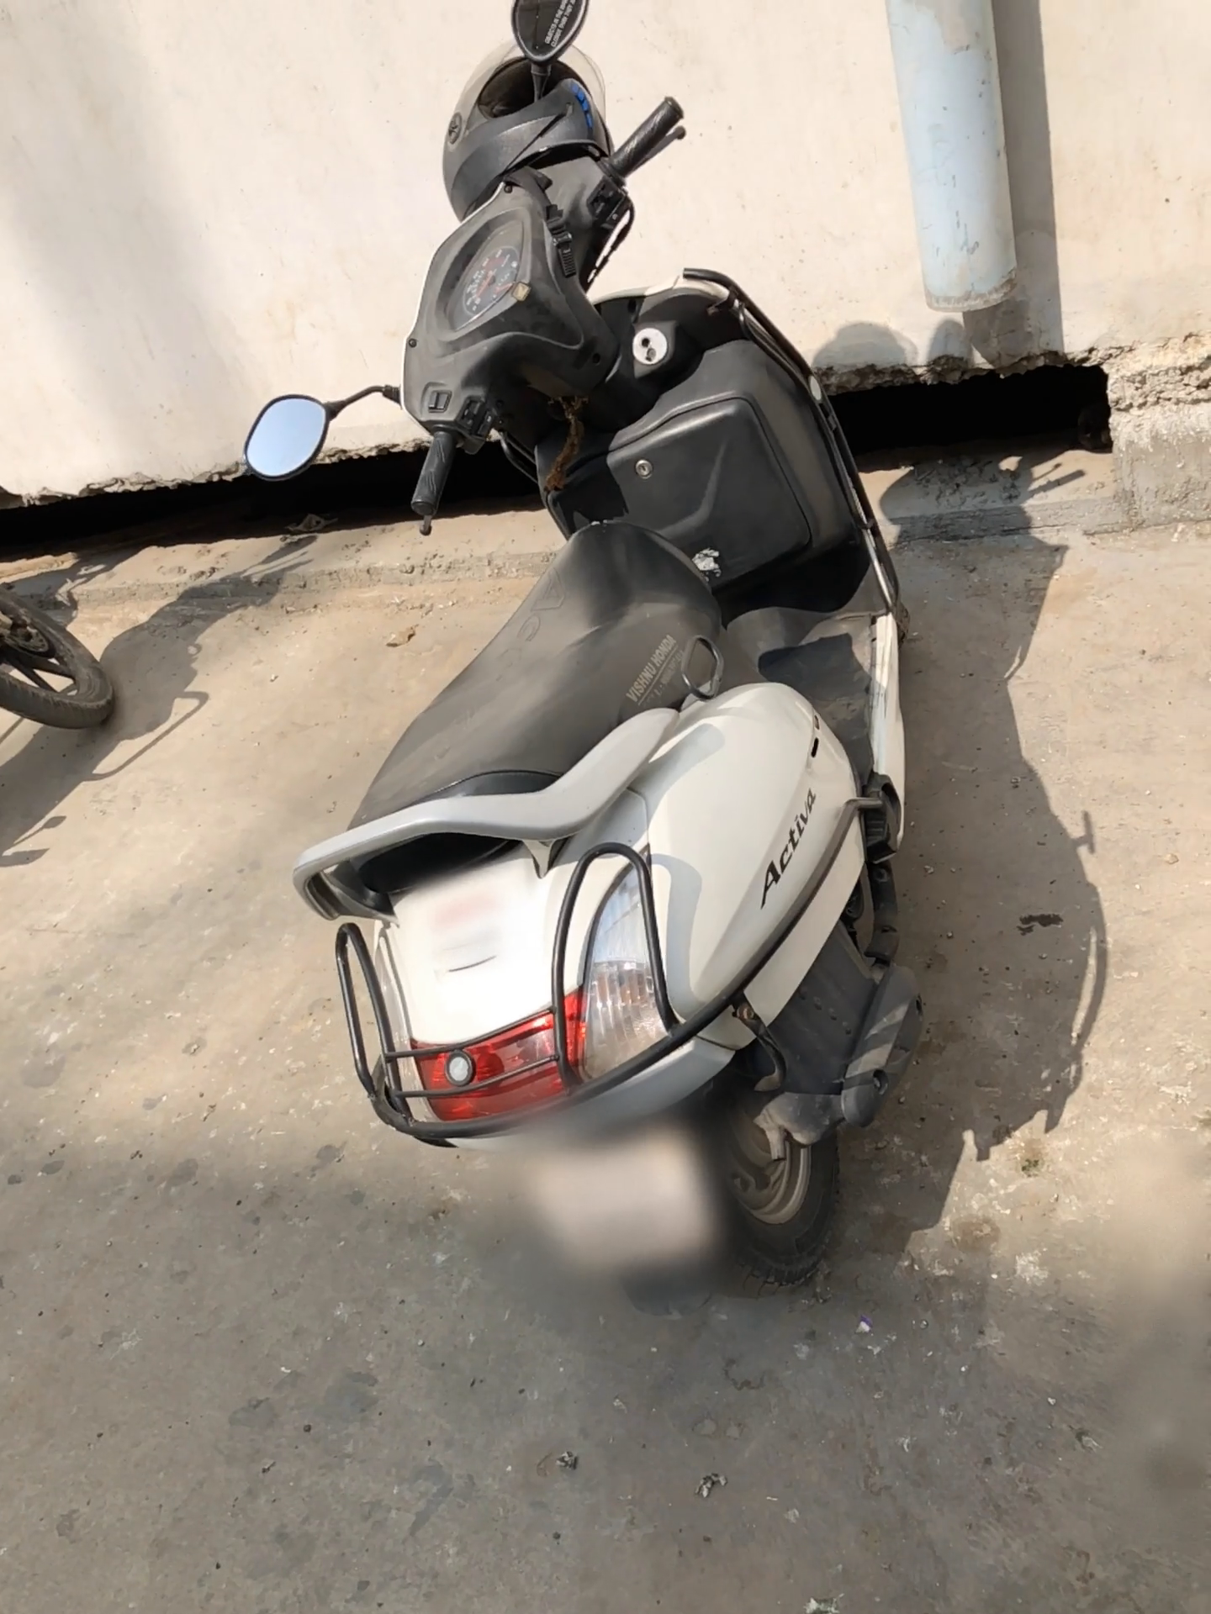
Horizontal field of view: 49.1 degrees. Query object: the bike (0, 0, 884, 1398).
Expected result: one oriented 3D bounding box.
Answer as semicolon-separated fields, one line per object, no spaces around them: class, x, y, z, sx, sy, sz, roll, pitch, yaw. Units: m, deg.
bike;-0.196;-0.185;1.732;0.625;1.122;1.307;-13;39;10
